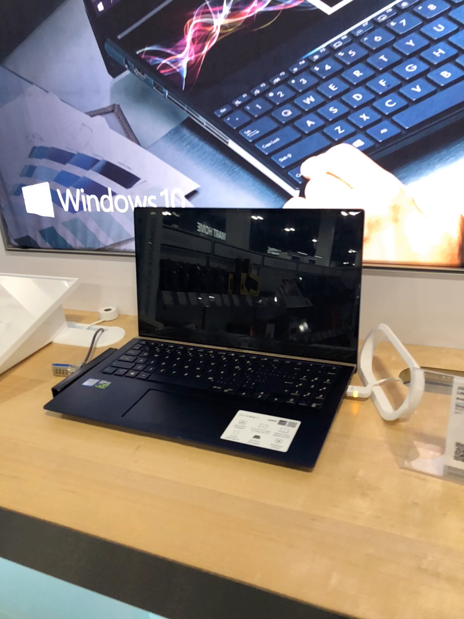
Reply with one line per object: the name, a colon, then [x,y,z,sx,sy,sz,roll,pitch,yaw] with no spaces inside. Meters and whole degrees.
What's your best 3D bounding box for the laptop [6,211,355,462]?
laptop: [-0.042,-0.001,0.637,0.336,0.196,0.250,6,24,25]
